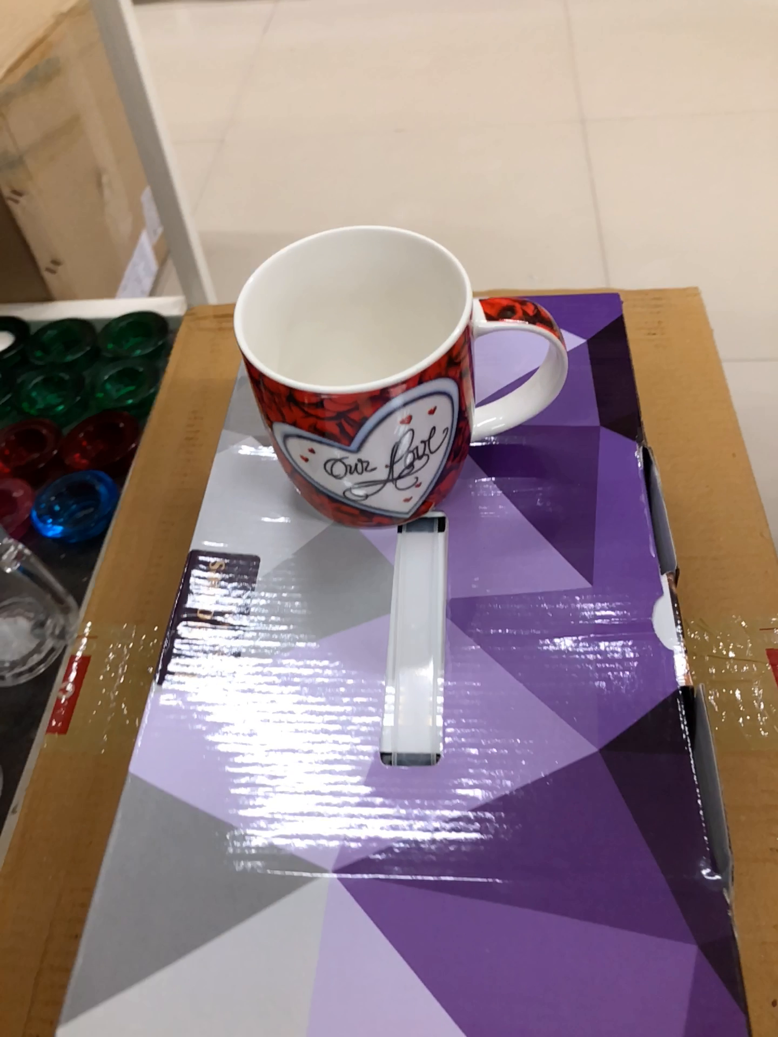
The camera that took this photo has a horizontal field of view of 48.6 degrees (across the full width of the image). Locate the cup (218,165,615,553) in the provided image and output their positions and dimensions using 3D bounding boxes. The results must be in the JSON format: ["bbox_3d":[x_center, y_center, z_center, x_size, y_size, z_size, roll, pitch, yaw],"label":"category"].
[{"bbox_3d":[0.008,-0.063,0.348,0.130,0.099,0.091,-10,49,-2],"label":"cup"}]
